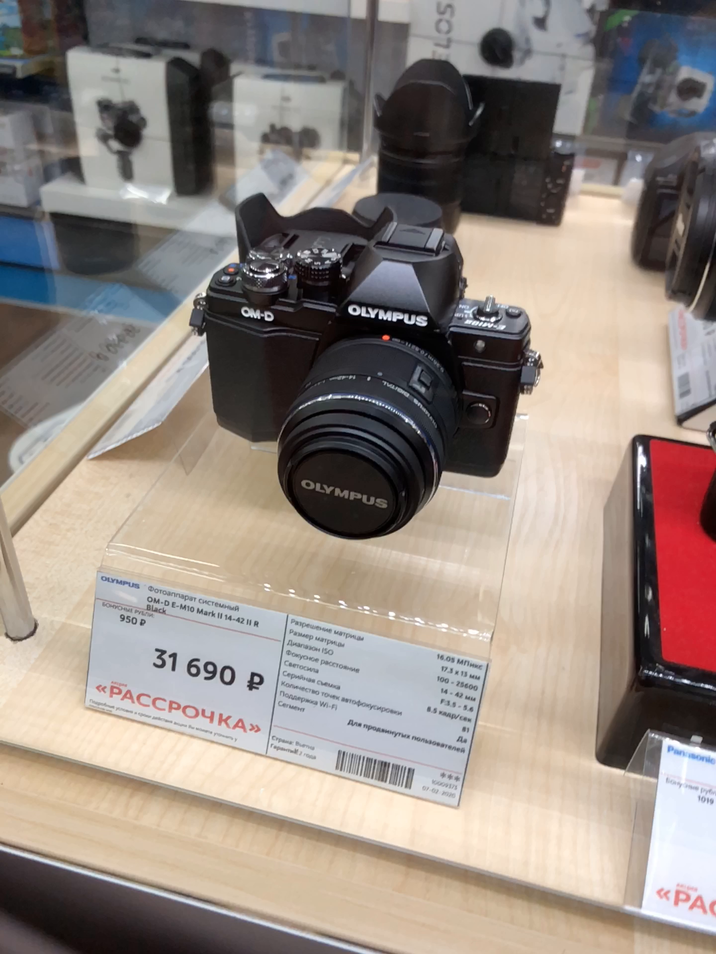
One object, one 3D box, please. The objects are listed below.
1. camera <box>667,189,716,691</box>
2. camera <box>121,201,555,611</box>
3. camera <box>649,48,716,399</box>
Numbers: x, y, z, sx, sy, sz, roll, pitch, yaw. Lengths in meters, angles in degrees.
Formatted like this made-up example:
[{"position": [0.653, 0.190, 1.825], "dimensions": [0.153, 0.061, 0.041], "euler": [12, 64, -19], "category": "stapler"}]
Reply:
[{"position": [0.171, -0.013, 0.239], "dimensions": [0.118, 0.109, 0.073], "euler": [11, 38, 10], "category": "camera"}, {"position": [-0.001, -0.031, 0.286], "dimensions": [0.118, 0.088, 0.101], "euler": [11, 38, 10], "category": "camera"}, {"position": [0.255, -0.131, 0.389], "dimensions": [0.185, 0.109, 0.104], "euler": [14, 39, 14], "category": "camera"}]
